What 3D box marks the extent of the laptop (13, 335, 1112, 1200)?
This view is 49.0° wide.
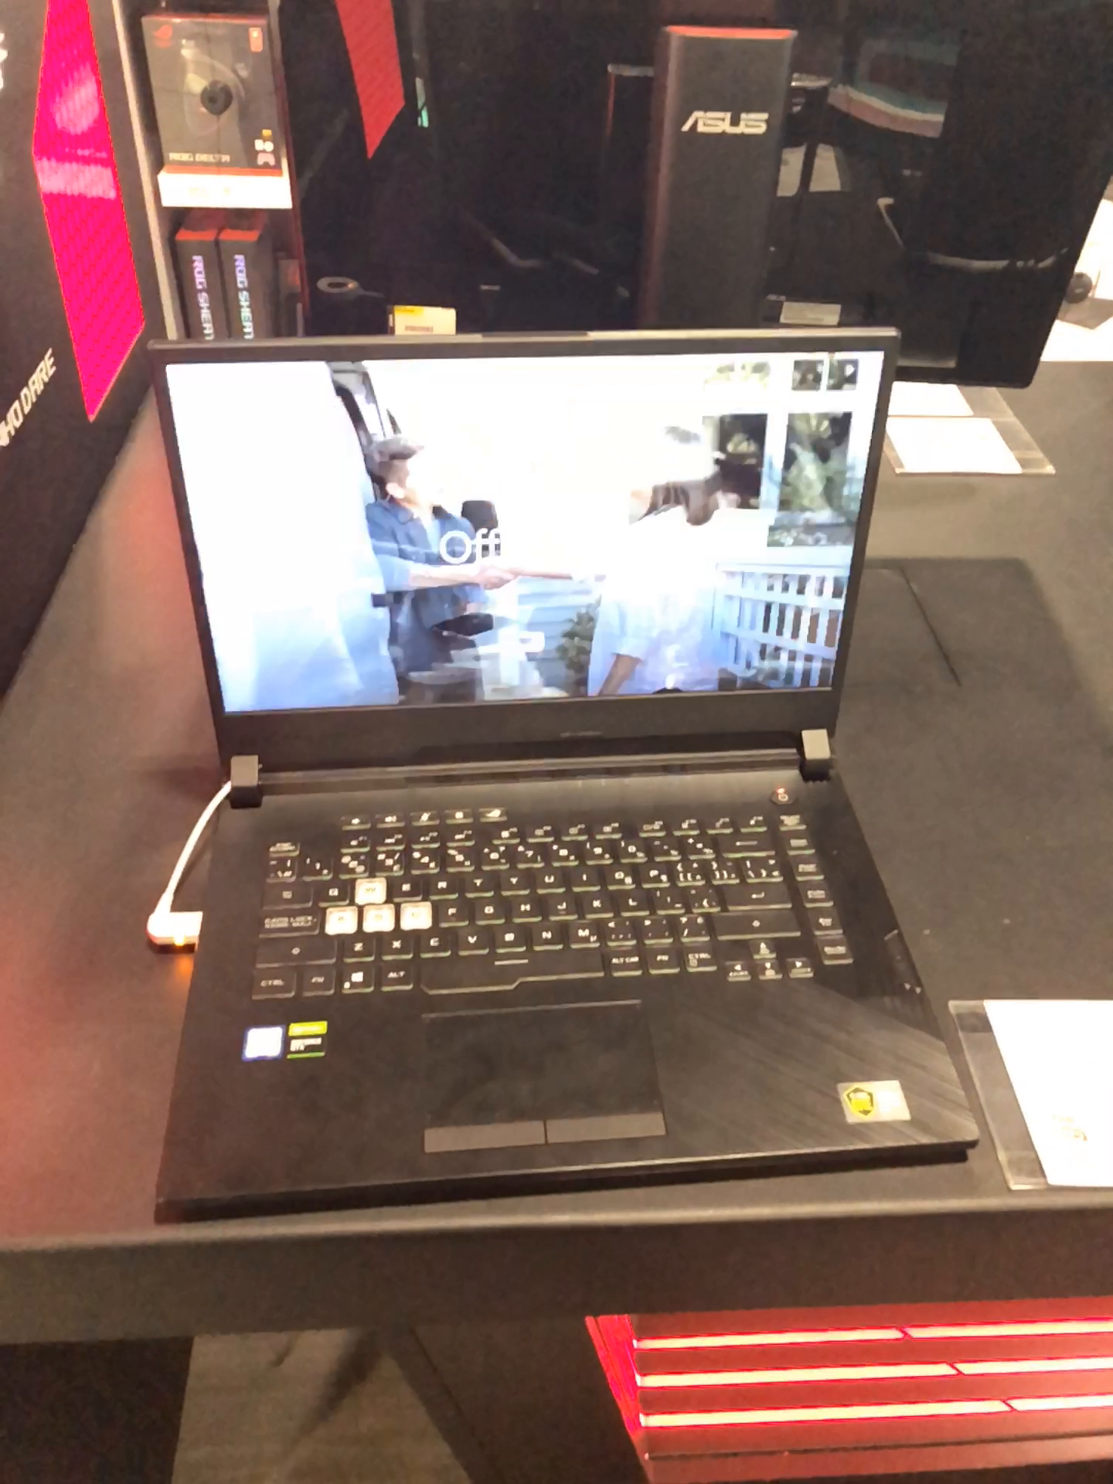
[{"bbox_3d":[0.001,0.000,0.564,0.360,0.268,0.276,-2,41,-5],"label":"laptop"}]
